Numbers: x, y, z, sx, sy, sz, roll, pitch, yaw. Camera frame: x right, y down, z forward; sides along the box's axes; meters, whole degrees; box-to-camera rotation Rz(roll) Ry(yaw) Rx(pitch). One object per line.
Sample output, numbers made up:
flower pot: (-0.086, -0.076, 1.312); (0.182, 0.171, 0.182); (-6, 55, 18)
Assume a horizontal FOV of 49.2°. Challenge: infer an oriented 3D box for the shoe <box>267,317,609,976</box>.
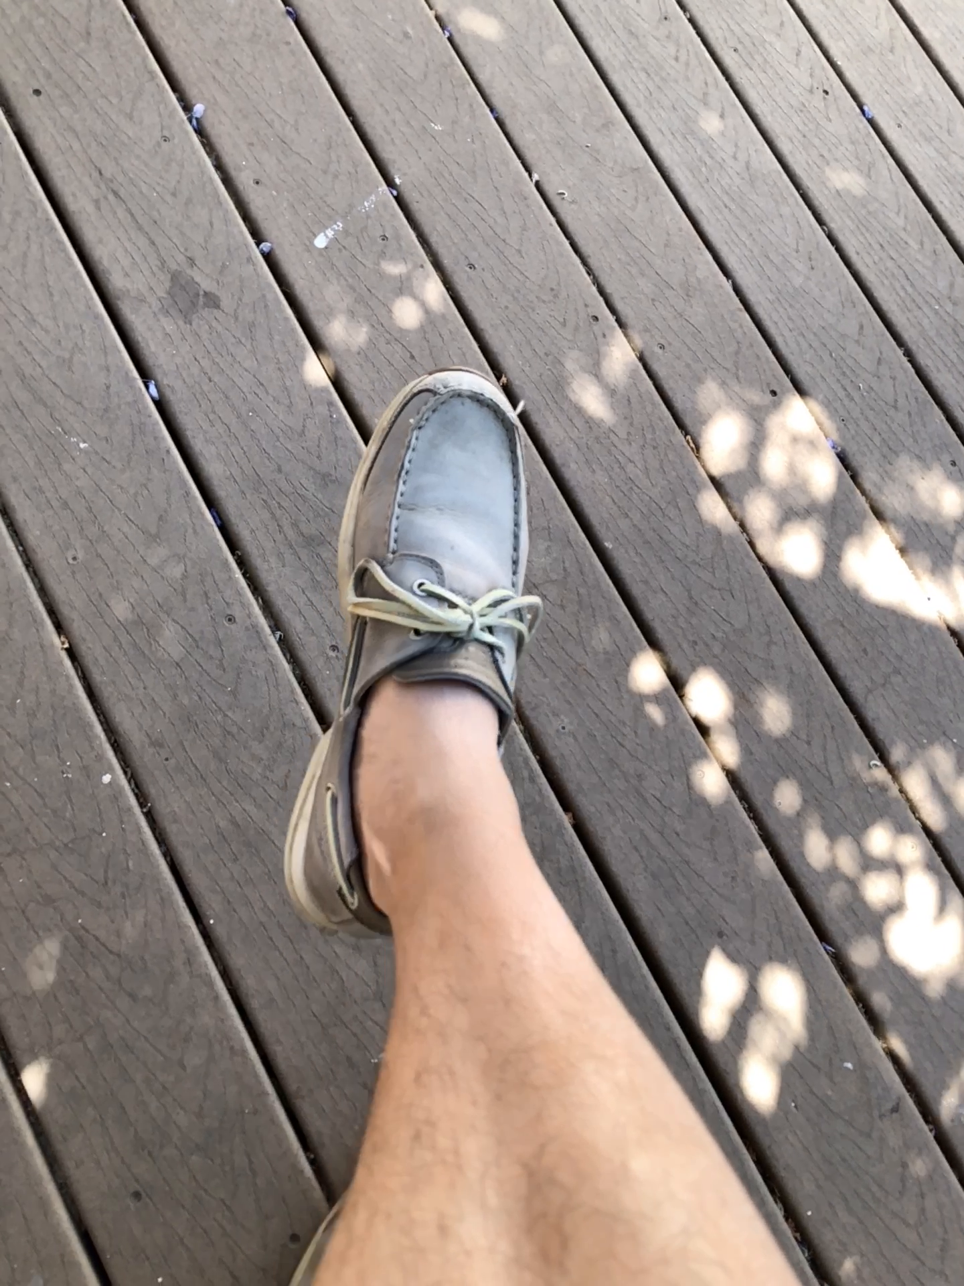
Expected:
shoe: (-0.024, 0.003, 0.555); (0.115, 0.085, 0.306); (12, 81, -12)
